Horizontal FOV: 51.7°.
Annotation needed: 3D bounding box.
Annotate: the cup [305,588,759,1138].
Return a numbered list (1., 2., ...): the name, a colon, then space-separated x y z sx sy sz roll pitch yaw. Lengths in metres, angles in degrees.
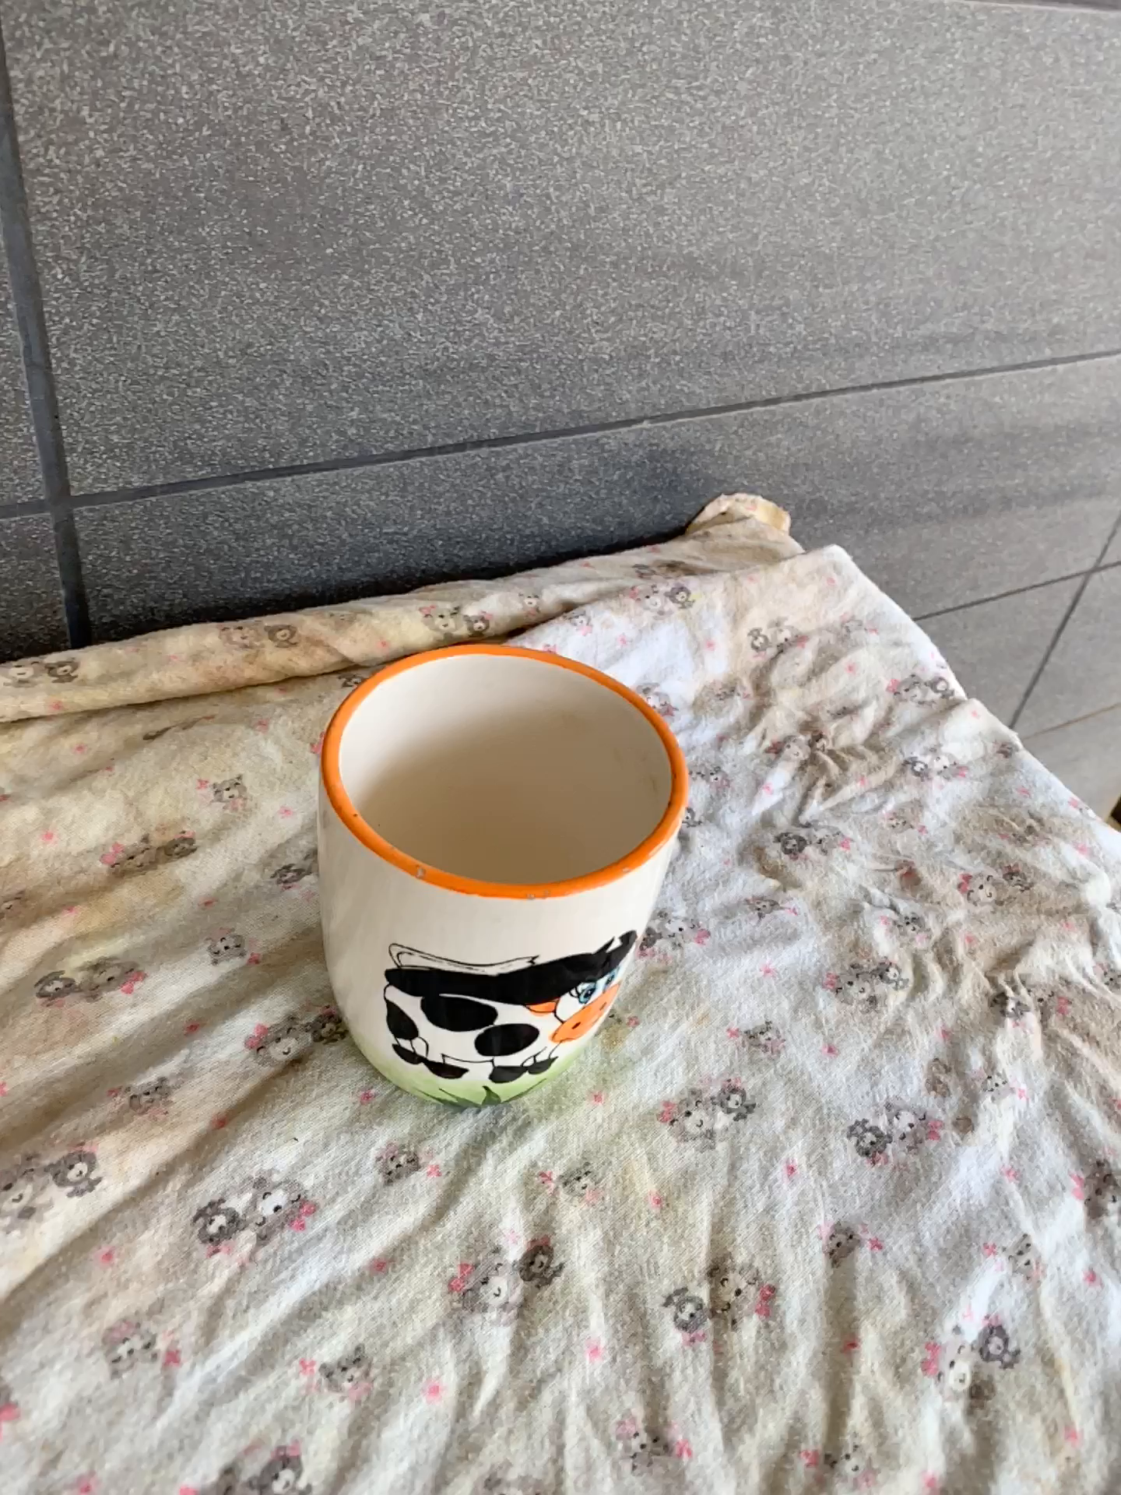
1. cup: -0.015 0.026 0.261 0.080 0.090 0.080 6 42 -5
